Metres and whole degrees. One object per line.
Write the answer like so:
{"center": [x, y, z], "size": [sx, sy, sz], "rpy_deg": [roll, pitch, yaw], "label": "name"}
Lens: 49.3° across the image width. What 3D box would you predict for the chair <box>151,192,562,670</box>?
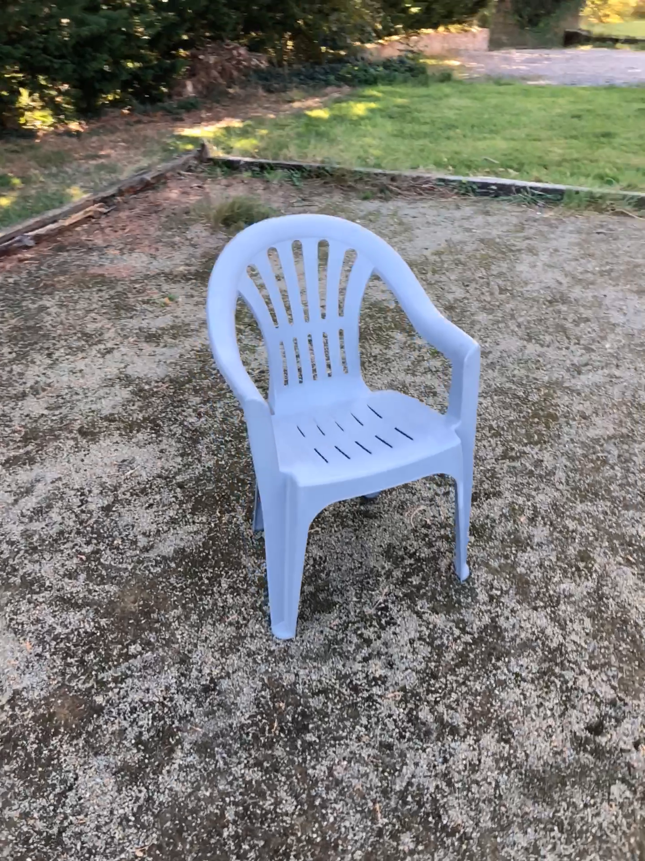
{"center": [0.030, -0.042, 1.615], "size": [0.631, 0.775, 0.622], "rpy_deg": [-12, 34, -16], "label": "chair"}
